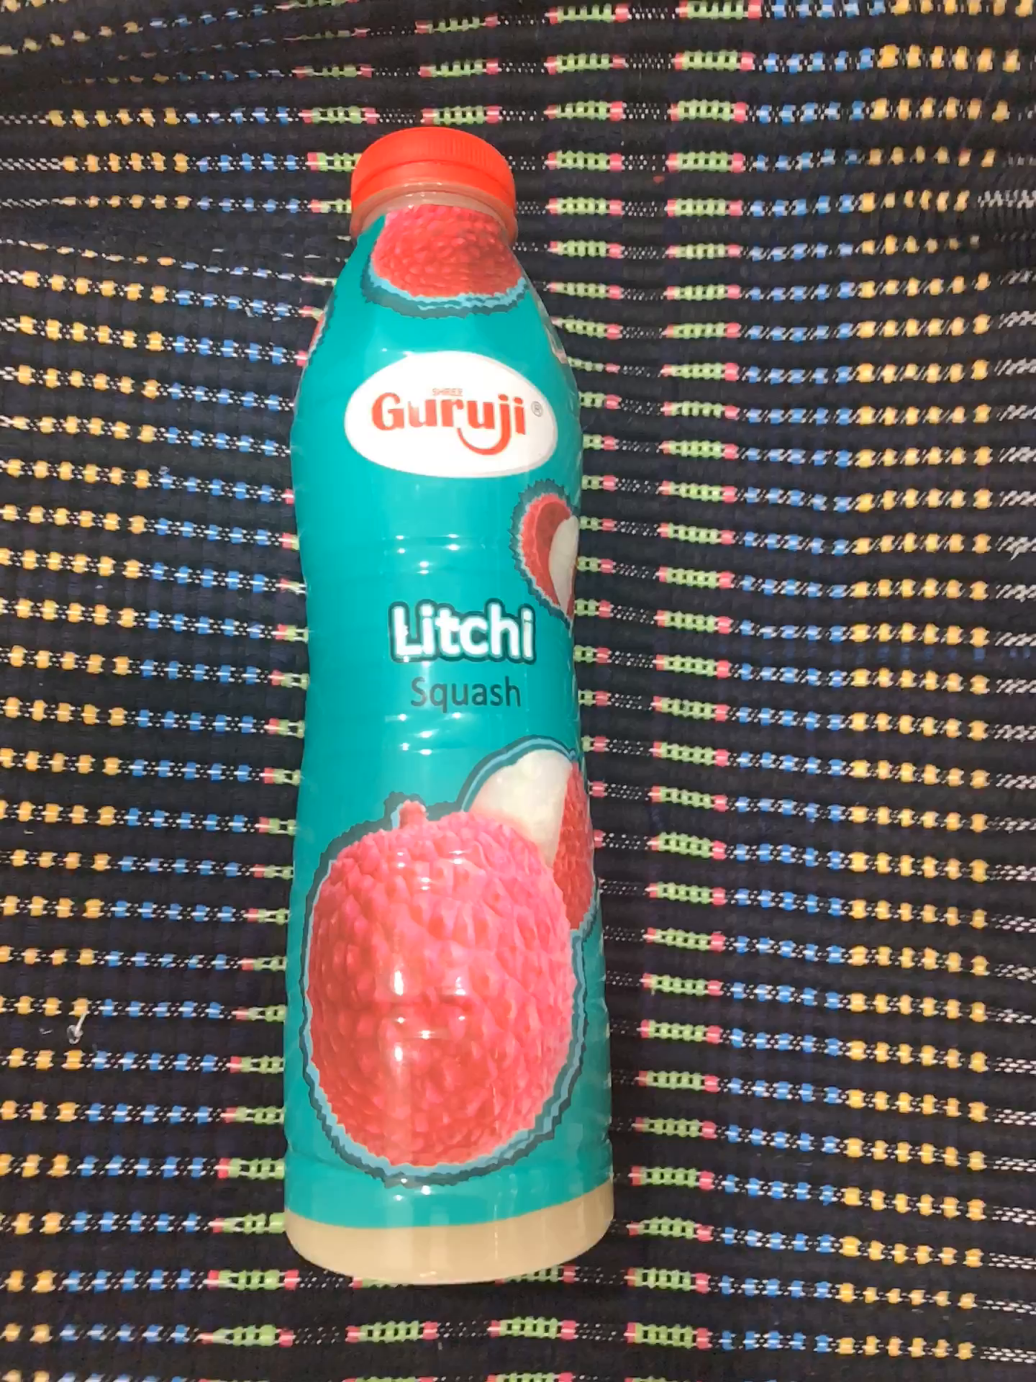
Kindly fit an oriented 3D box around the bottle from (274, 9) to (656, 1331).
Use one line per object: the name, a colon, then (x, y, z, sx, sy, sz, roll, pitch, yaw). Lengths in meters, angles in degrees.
bottle: (-0.023, -0.014, 0.266, 0.070, 0.080, 0.280, -1, 77, -11)
